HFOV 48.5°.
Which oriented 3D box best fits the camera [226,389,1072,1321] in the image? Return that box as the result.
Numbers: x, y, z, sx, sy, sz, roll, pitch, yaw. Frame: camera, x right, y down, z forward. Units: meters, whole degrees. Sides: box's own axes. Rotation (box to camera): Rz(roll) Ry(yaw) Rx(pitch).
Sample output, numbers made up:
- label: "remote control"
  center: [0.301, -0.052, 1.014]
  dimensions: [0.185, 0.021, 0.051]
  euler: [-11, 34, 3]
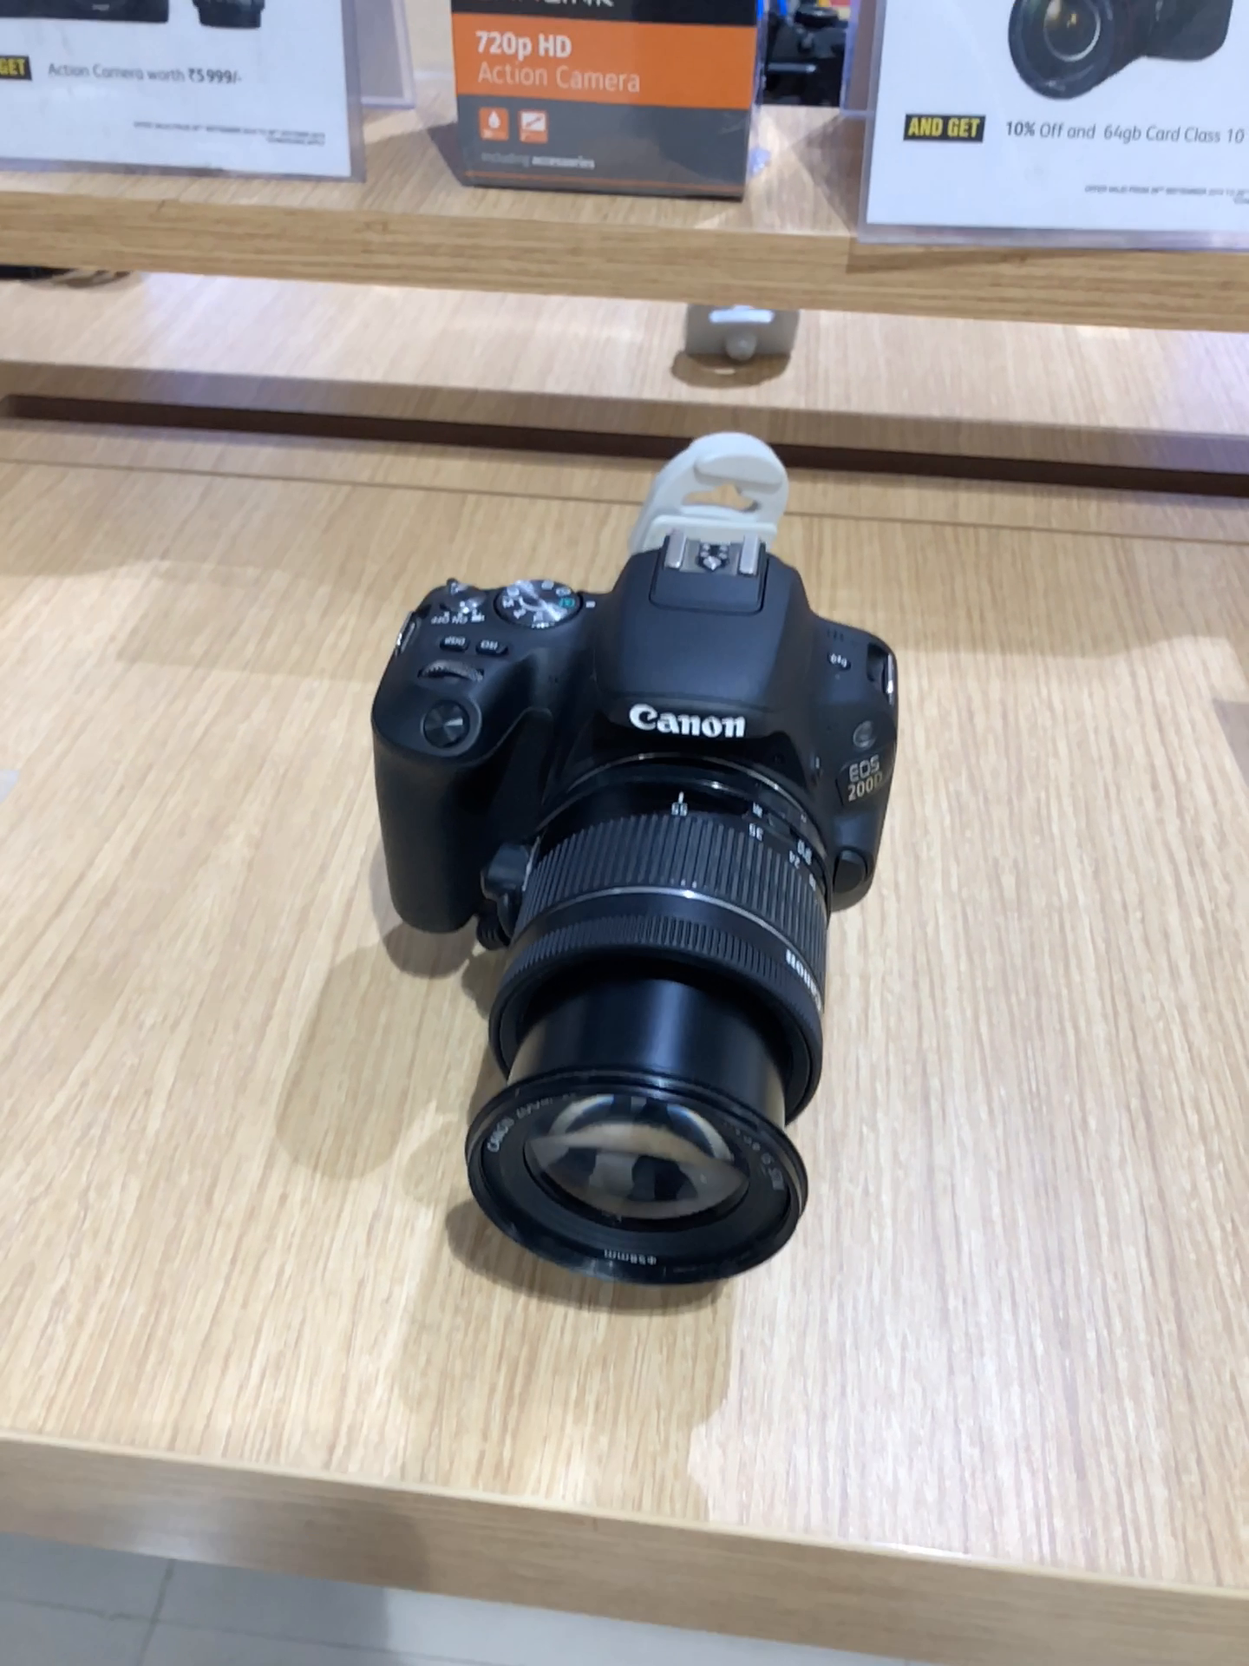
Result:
- label: "camera"
  center: [0.011, -0.006, 0.288]
  dimensions: [0.120, 0.099, 0.161]
  euler: [6, 42, 5]
